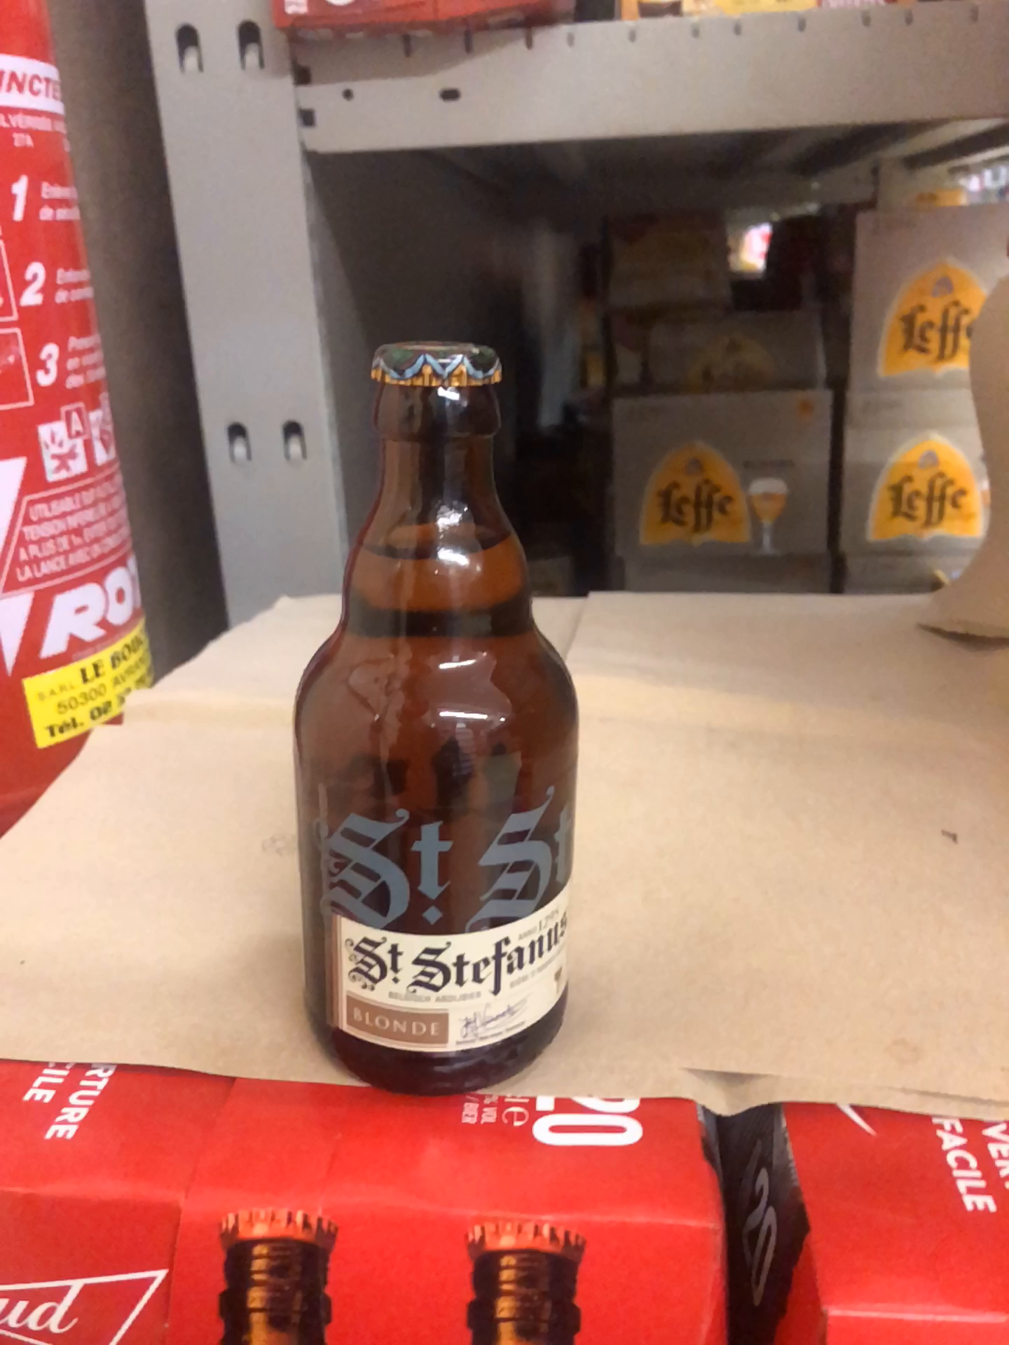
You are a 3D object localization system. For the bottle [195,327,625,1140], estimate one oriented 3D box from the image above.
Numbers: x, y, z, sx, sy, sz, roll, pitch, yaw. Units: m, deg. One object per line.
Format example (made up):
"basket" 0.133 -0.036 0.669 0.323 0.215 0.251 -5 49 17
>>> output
"bottle" -0.023 0.008 0.271 0.080 0.169 0.080 -2 19 1
